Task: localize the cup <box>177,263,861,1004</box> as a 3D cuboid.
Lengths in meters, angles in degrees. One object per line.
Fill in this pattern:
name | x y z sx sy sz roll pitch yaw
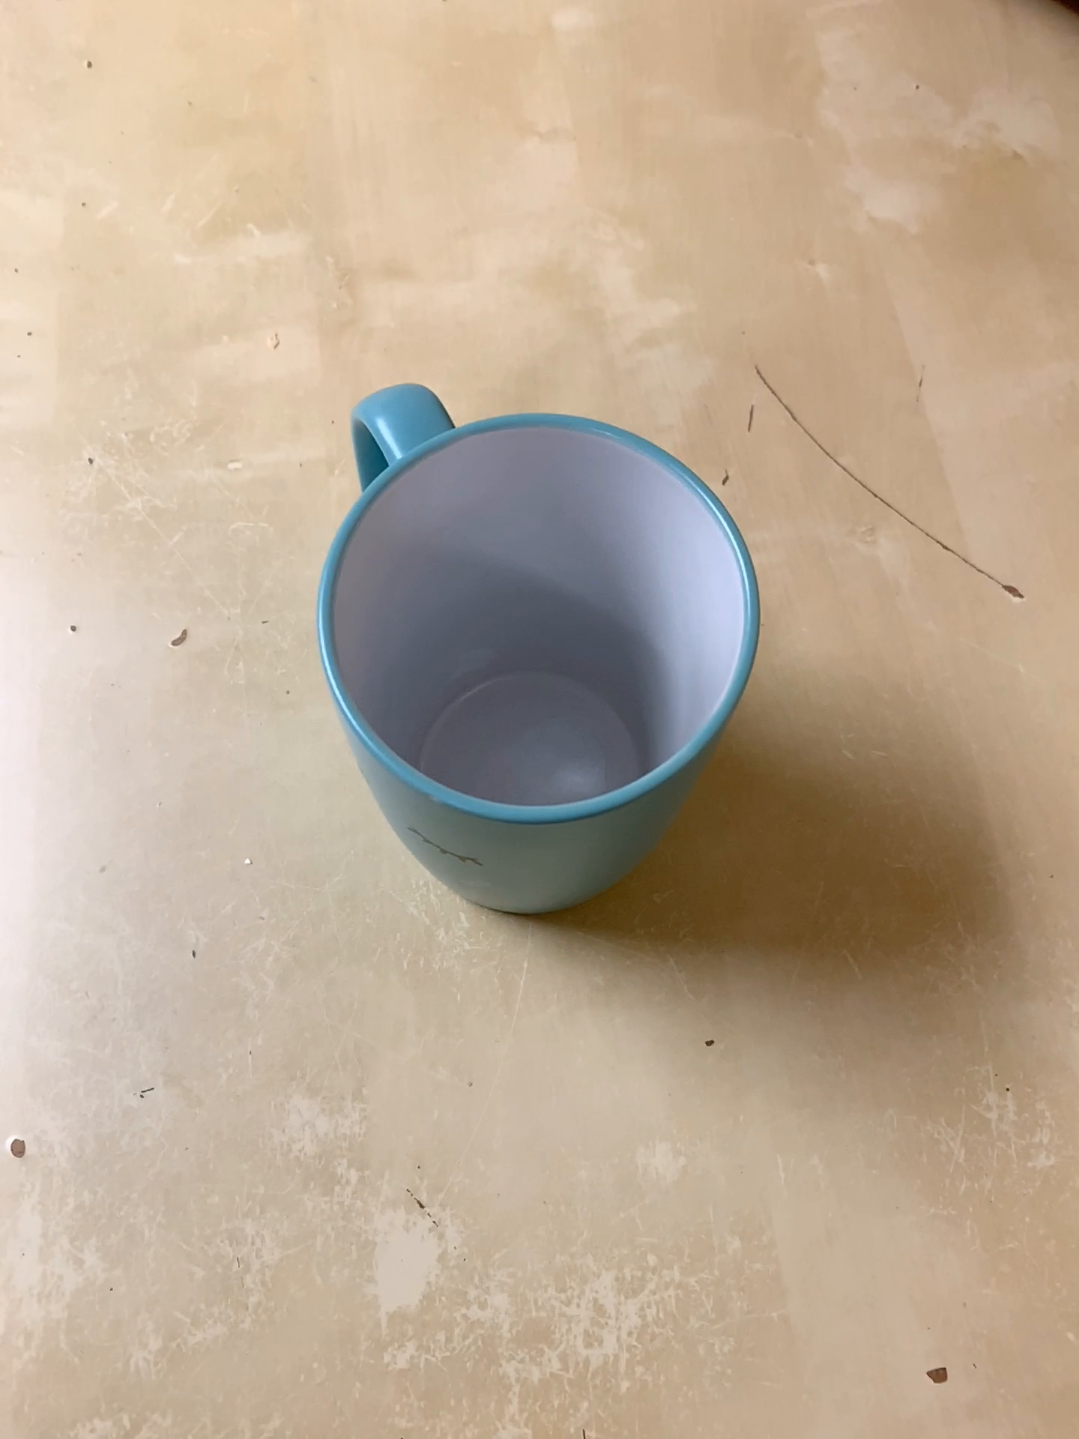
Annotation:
cup | -0.009 -0.013 0.278 0.091 0.114 0.121 -27 72 -12
